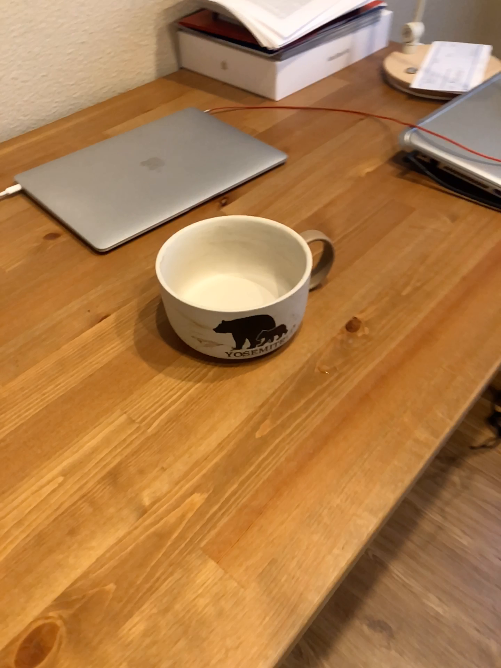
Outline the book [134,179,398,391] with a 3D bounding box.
[{"bbox_3d":[0.011,-0.053,0.509,0.190,0.080,0.130,-21,48,-18],"label":"book"}]
